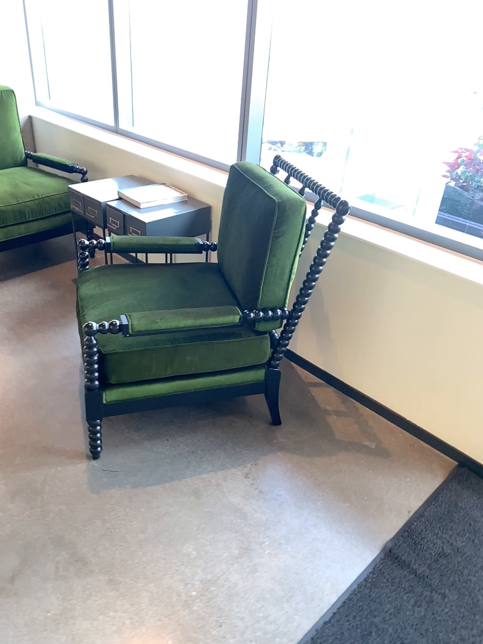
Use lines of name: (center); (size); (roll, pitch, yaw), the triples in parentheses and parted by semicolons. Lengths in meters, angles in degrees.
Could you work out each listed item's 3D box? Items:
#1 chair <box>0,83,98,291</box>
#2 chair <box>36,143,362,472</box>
chair: (-1.553, -0.893, 3.043); (0.913, 0.925, 0.842); (26, 37, 31)
chair: (-0.235, -0.136, 1.981); (0.940, 0.925, 0.875); (-5, 32, -16)
